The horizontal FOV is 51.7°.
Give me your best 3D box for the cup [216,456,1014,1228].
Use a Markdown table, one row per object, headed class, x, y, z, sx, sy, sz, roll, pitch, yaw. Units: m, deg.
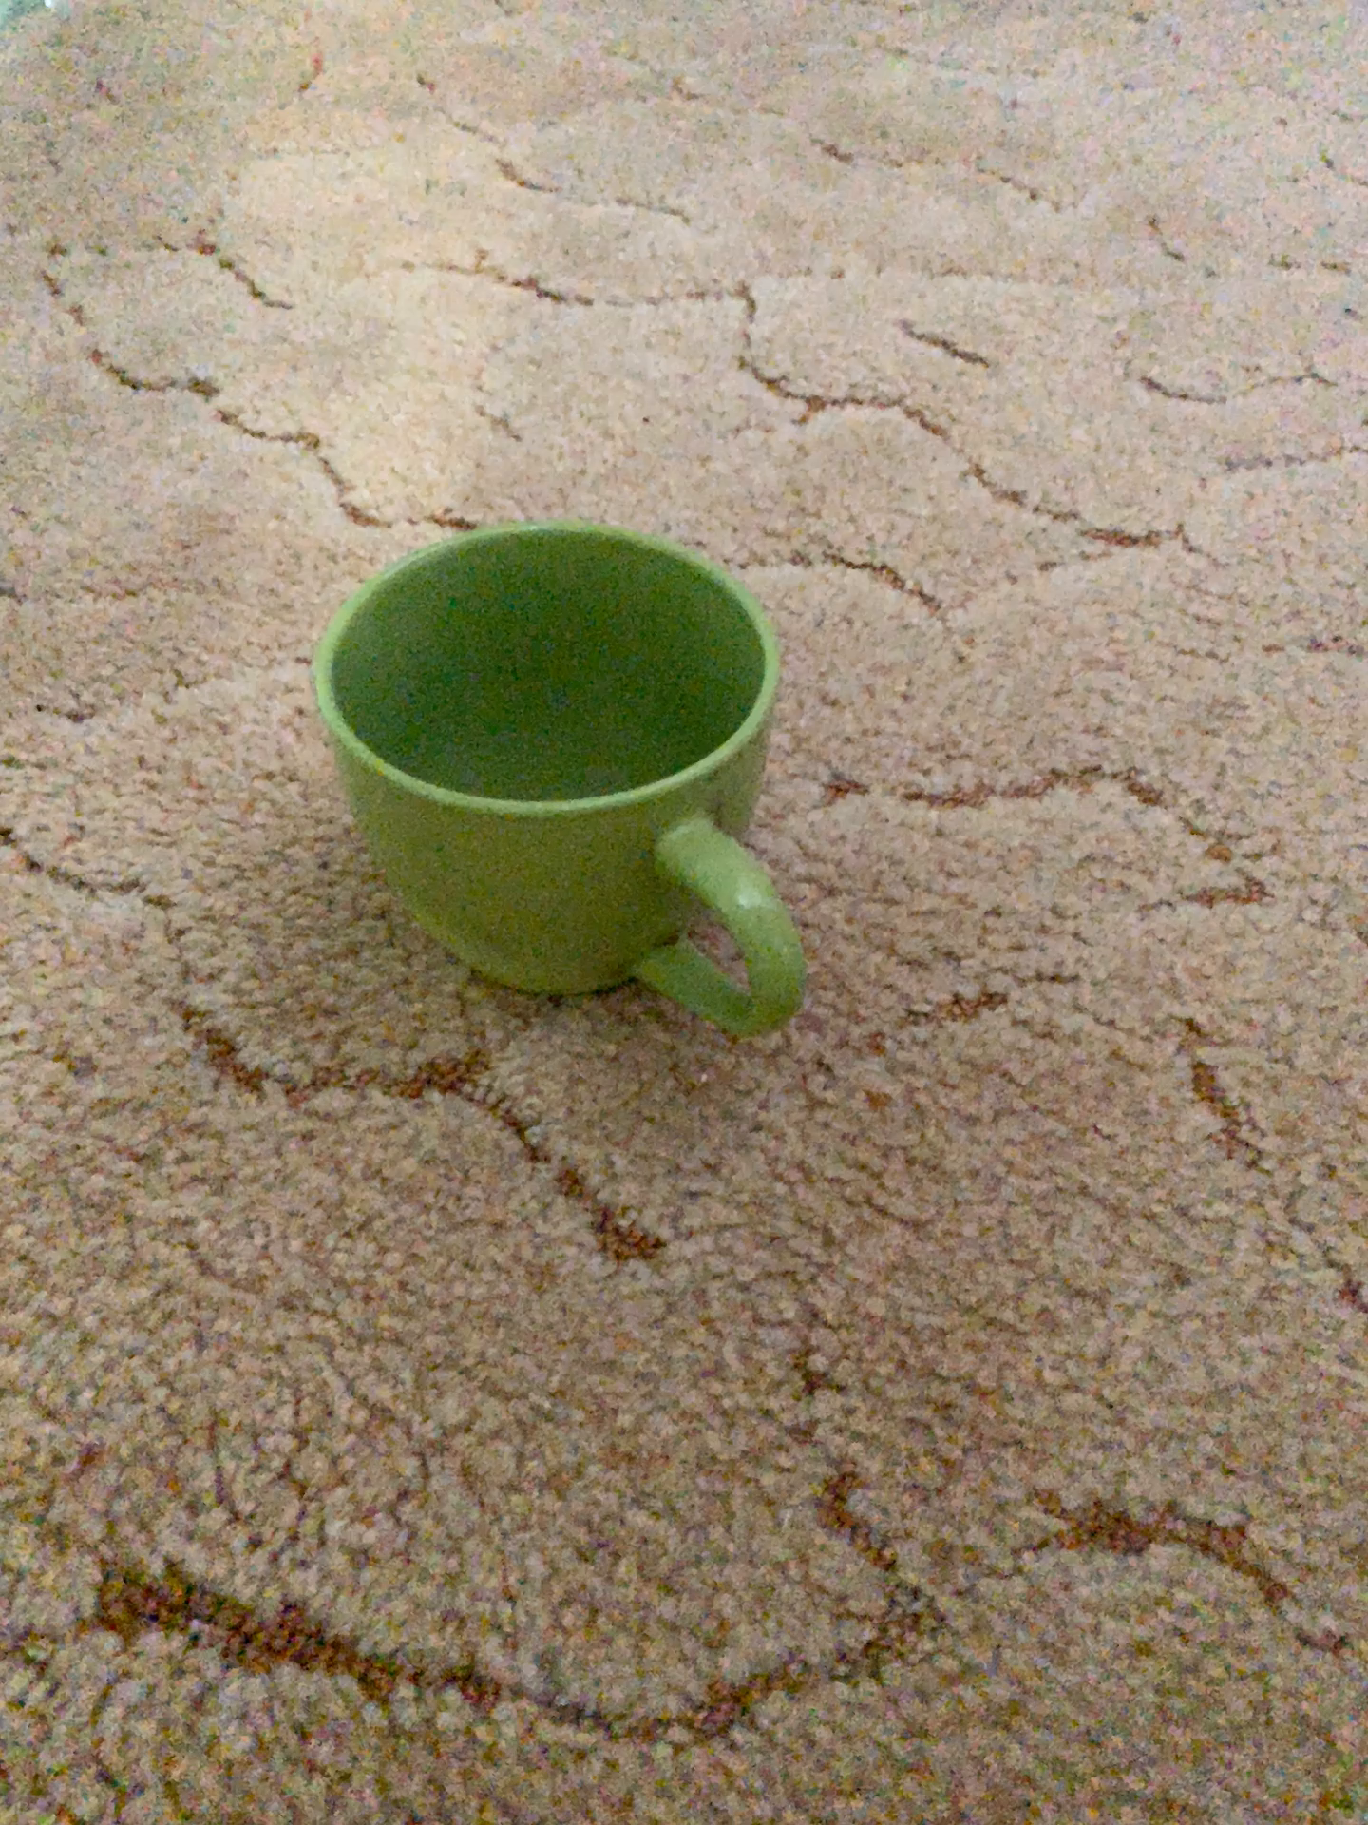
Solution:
| class | x | y | z | sx | sy | sz | roll | pitch | yaw |
| --- | --- | --- | --- | --- | --- | --- | --- | --- | --- |
| cup | -0.018 | -0.022 | 0.270 | 0.090 | 0.060 | 0.121 | -25 | 54 | -25 |
